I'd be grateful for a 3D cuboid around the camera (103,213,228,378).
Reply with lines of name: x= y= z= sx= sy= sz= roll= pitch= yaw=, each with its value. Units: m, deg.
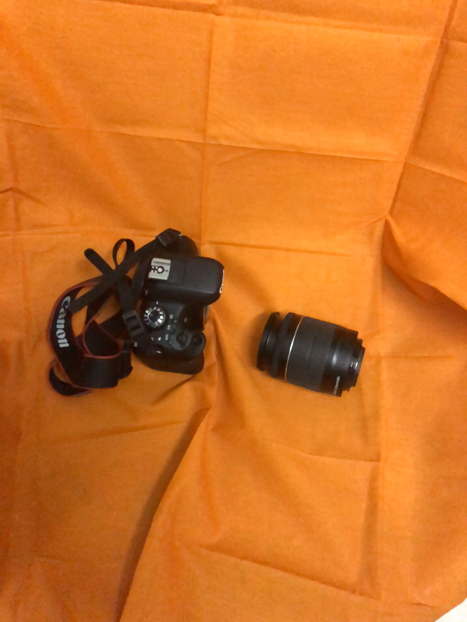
camera: x=-0.059 y=-0.014 z=0.502 sx=0.092 sy=0.071 sz=0.134 roll=7 pitch=68 yaw=2
